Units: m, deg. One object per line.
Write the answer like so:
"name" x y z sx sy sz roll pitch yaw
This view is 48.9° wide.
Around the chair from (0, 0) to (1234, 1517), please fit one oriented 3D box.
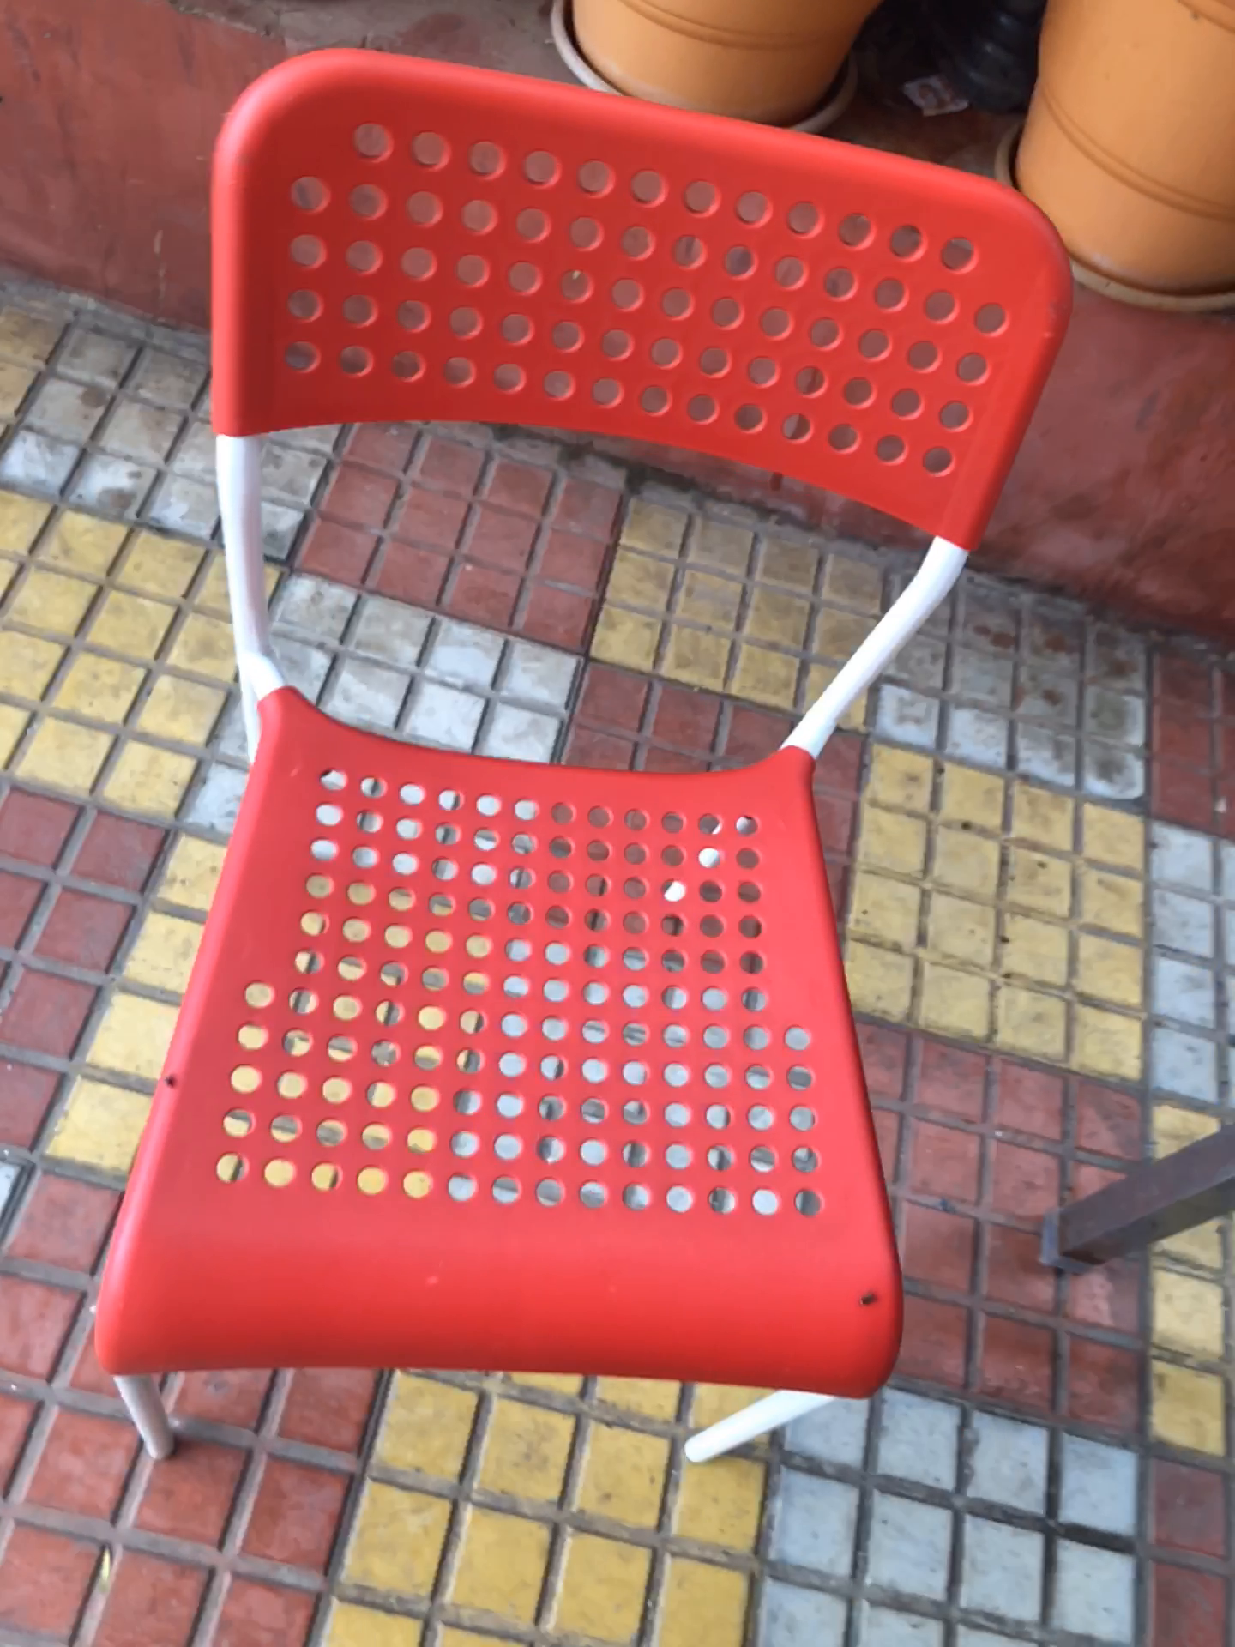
"chair" -0.064 0.058 0.732 0.450 0.697 0.542 6 61 -11
